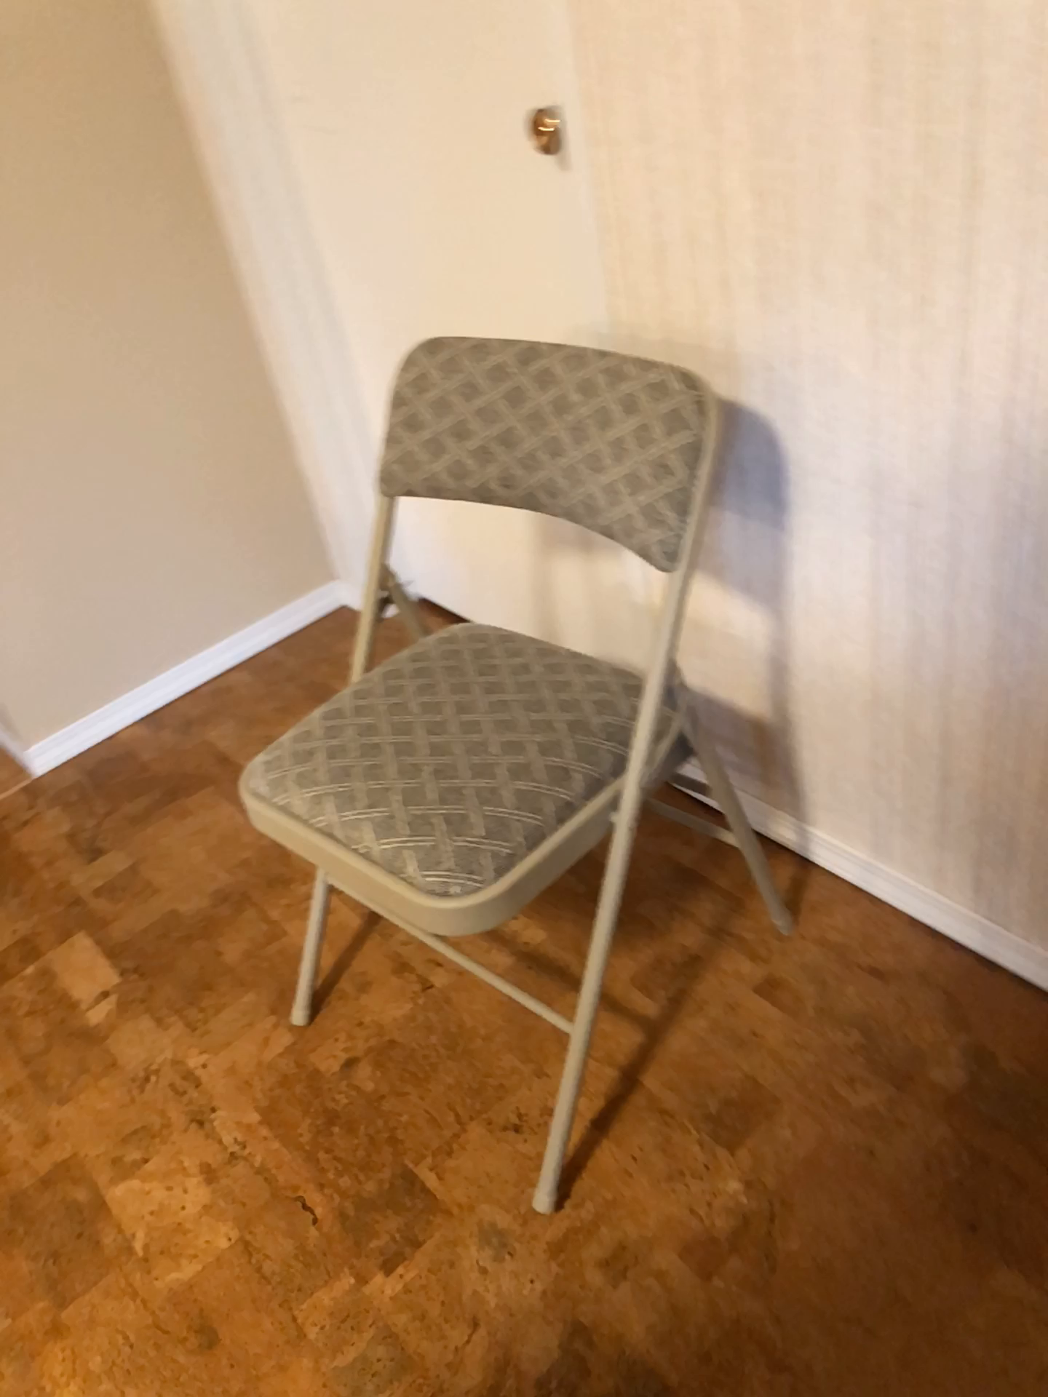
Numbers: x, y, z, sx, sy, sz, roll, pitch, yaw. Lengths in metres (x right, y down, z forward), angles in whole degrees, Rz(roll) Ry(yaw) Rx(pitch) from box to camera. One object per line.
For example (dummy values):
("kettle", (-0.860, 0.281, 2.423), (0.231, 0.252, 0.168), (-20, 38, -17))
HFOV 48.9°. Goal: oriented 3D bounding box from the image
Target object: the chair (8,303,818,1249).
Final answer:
("chair", (-0.048, 0.055, 1.286), (0.492, 0.757, 0.560), (22, 48, 38))
